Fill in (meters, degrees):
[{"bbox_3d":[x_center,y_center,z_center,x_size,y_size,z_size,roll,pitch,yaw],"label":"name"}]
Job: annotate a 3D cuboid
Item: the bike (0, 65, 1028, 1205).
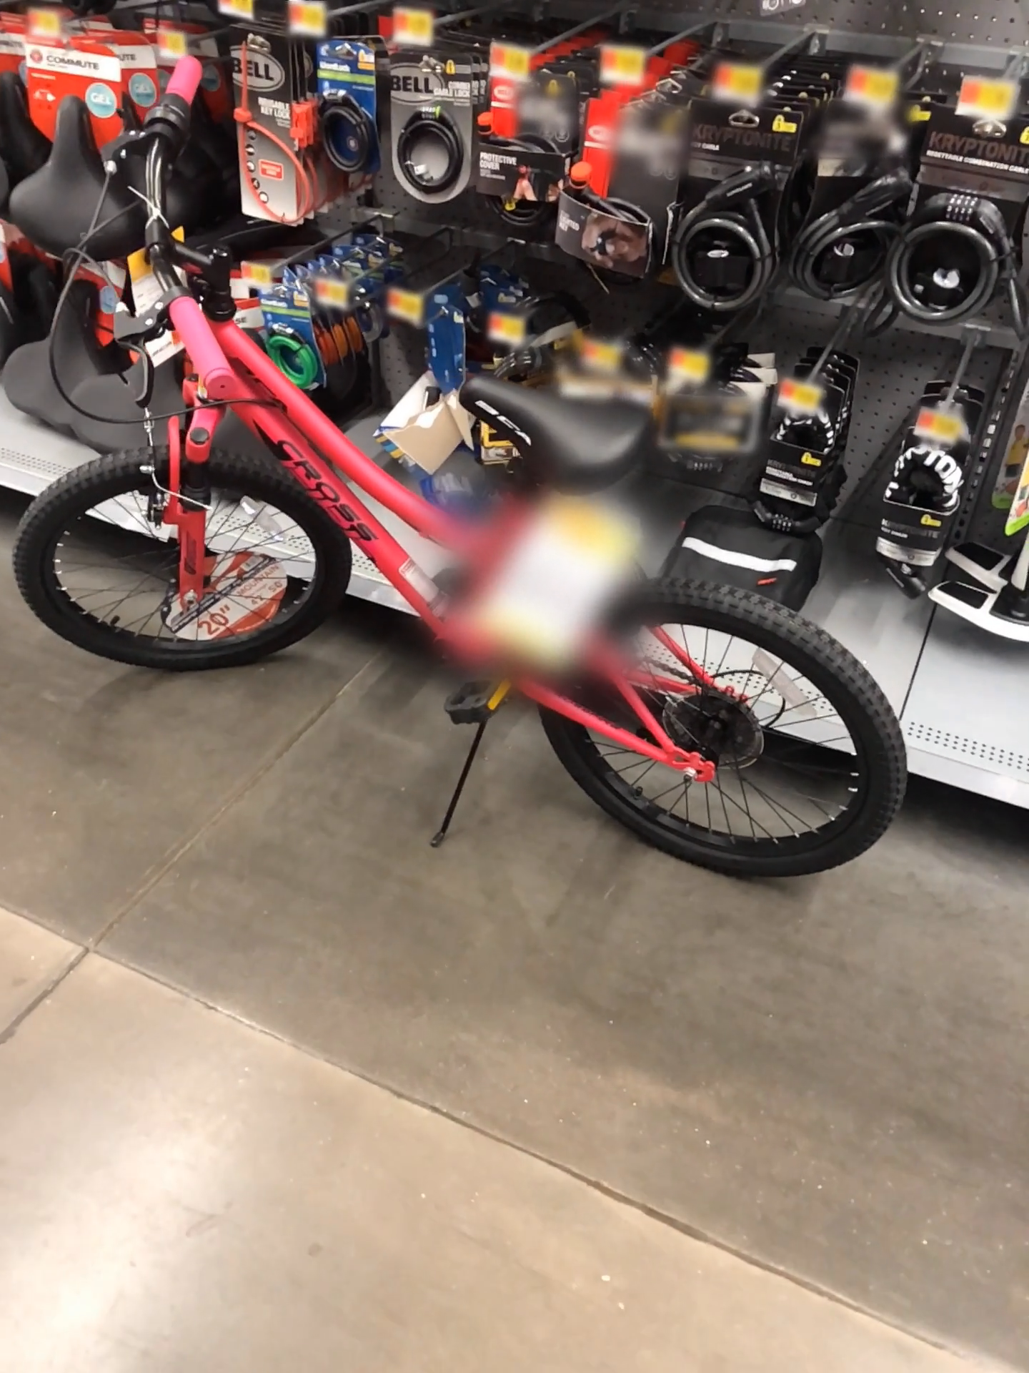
[{"bbox_3d":[-0.159,-0.111,1.280,1.224,0.877,0.611,15,40,15],"label":"bike"}]
